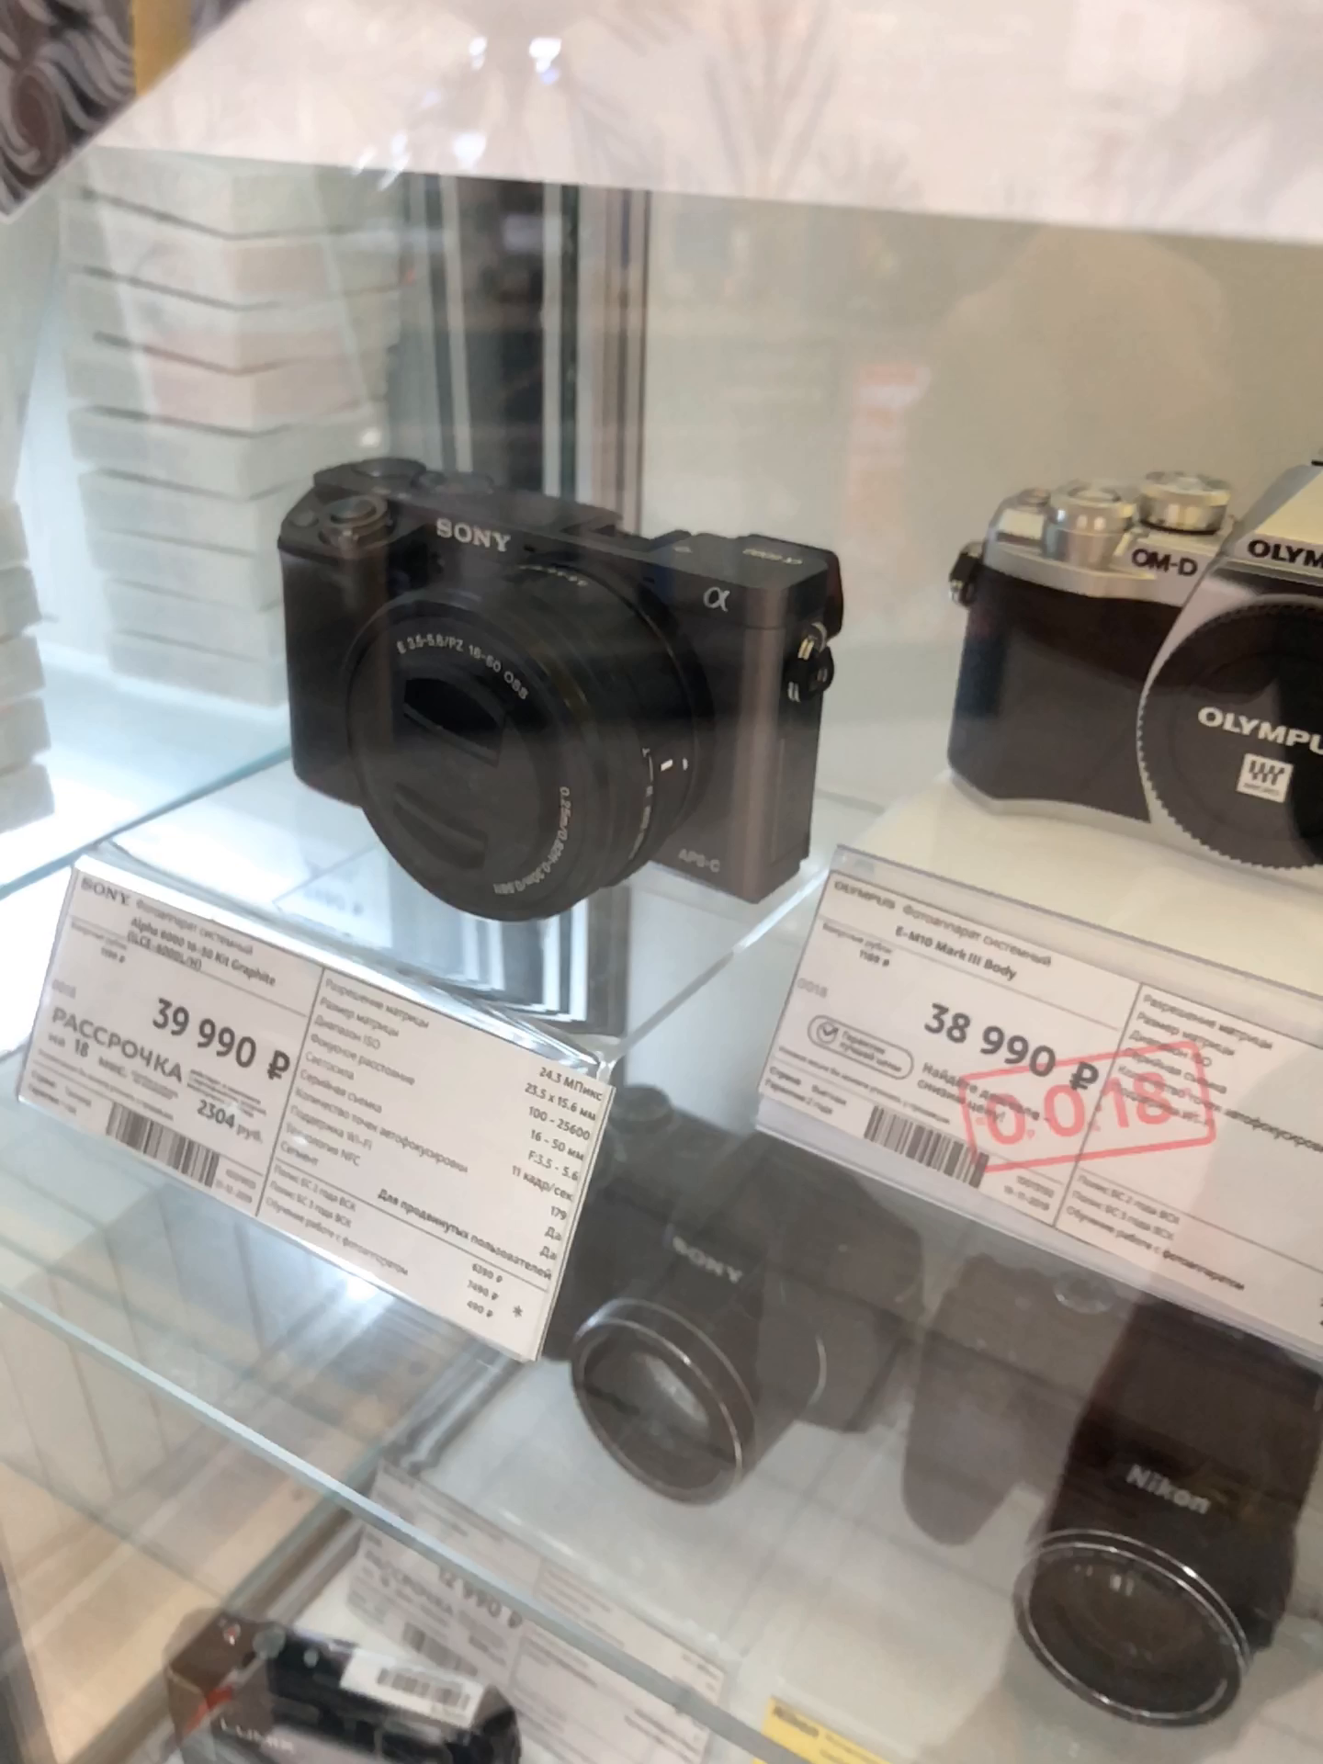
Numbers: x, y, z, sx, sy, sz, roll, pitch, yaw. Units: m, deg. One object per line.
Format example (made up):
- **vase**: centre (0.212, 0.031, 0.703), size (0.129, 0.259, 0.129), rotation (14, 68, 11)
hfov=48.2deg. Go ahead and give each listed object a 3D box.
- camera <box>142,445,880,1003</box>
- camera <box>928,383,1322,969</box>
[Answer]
- **camera**: centre (-0.032, -0.040, 0.304), size (0.130, 0.070, 0.066), rotation (18, 32, 28)
- **camera**: centre (0.137, -0.053, 0.321), size (0.123, 0.081, 0.088), rotation (18, 32, 28)
